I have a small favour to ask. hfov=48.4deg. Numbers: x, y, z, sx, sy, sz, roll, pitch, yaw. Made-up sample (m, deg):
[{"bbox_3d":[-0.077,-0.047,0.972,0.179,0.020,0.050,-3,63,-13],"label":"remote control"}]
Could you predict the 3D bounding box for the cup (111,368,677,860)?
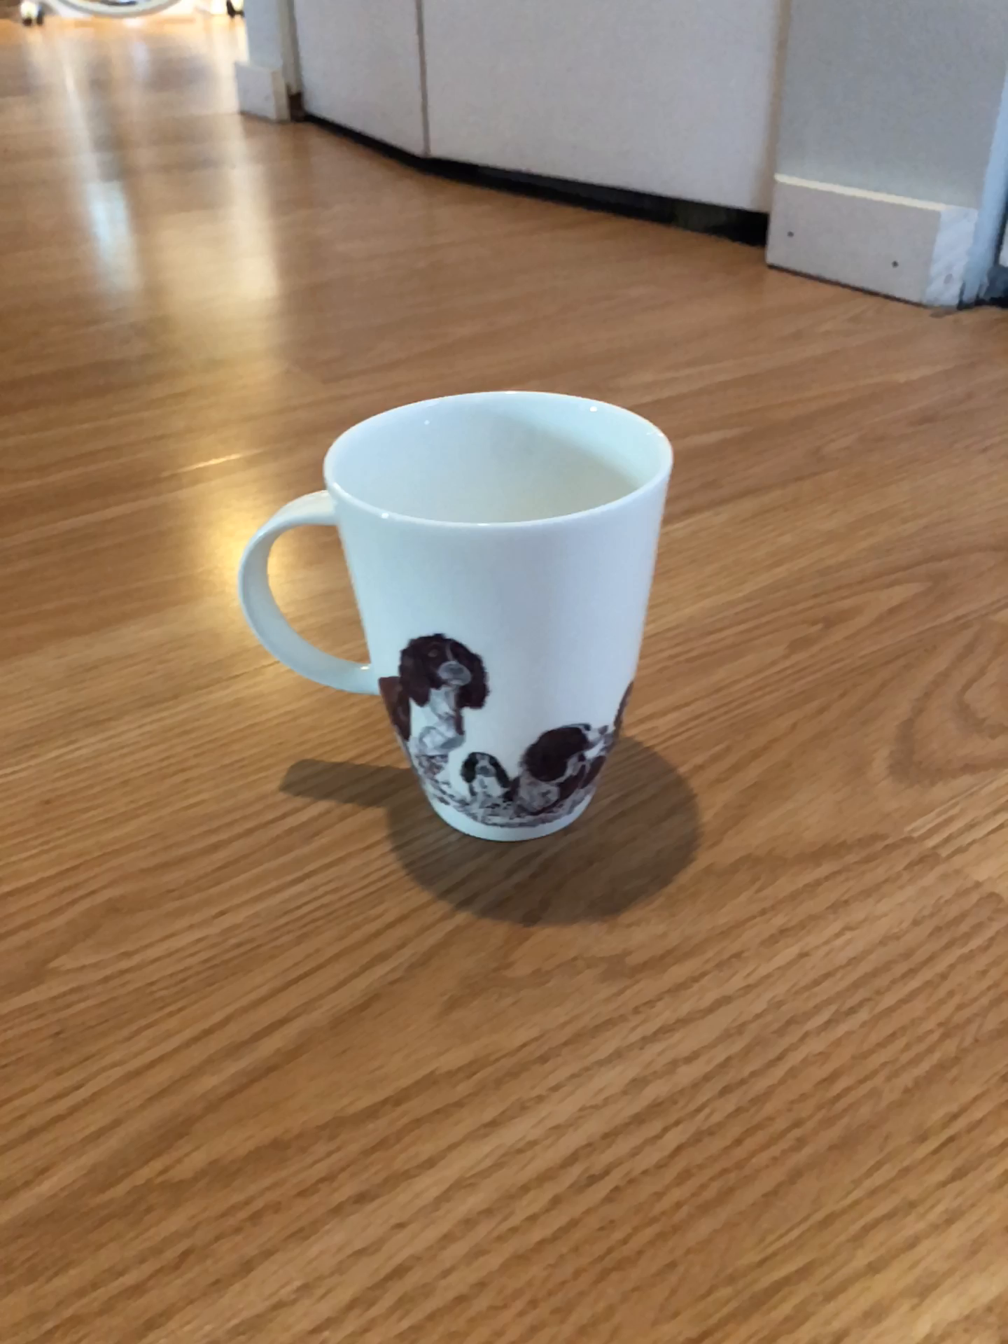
[{"bbox_3d":[-0.020,-0.021,0.302,0.120,0.090,0.090,5,34,10],"label":"cup"}]
